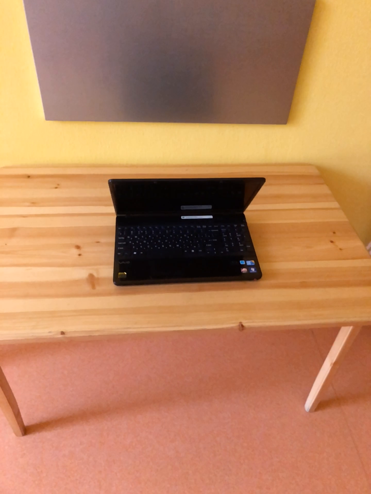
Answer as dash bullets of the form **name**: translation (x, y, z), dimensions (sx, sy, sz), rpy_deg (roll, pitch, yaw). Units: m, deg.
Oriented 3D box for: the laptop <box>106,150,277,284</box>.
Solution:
- **laptop**: translation (0.001, -0.081, 1.011), dimensions (0.361, 0.200, 0.249), rpy_deg (-2, 44, -6)
